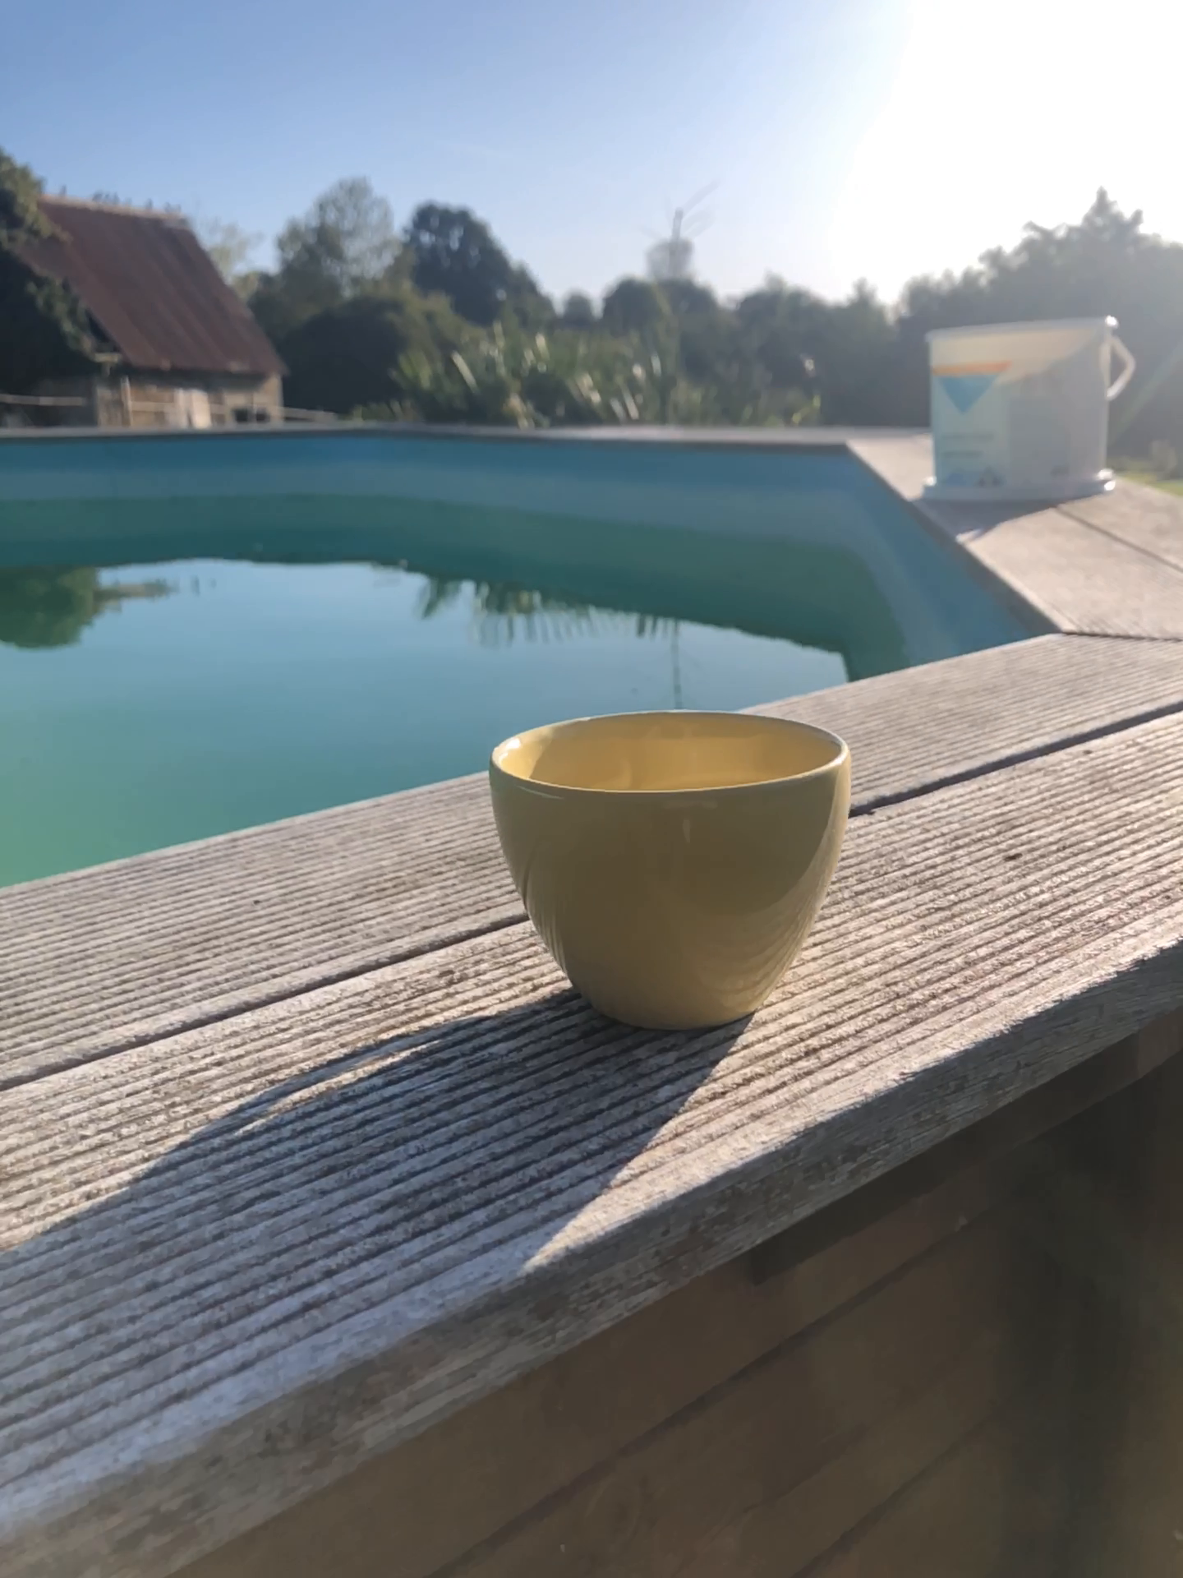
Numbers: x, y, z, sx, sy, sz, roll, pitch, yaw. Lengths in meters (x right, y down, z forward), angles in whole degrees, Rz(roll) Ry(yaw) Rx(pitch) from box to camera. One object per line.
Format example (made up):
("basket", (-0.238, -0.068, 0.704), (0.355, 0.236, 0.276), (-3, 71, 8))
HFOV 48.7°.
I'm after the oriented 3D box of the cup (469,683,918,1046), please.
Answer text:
("cup", (0.019, 0.012, 0.336), (0.089, 0.053, 0.112), (-4, 16, -9))
